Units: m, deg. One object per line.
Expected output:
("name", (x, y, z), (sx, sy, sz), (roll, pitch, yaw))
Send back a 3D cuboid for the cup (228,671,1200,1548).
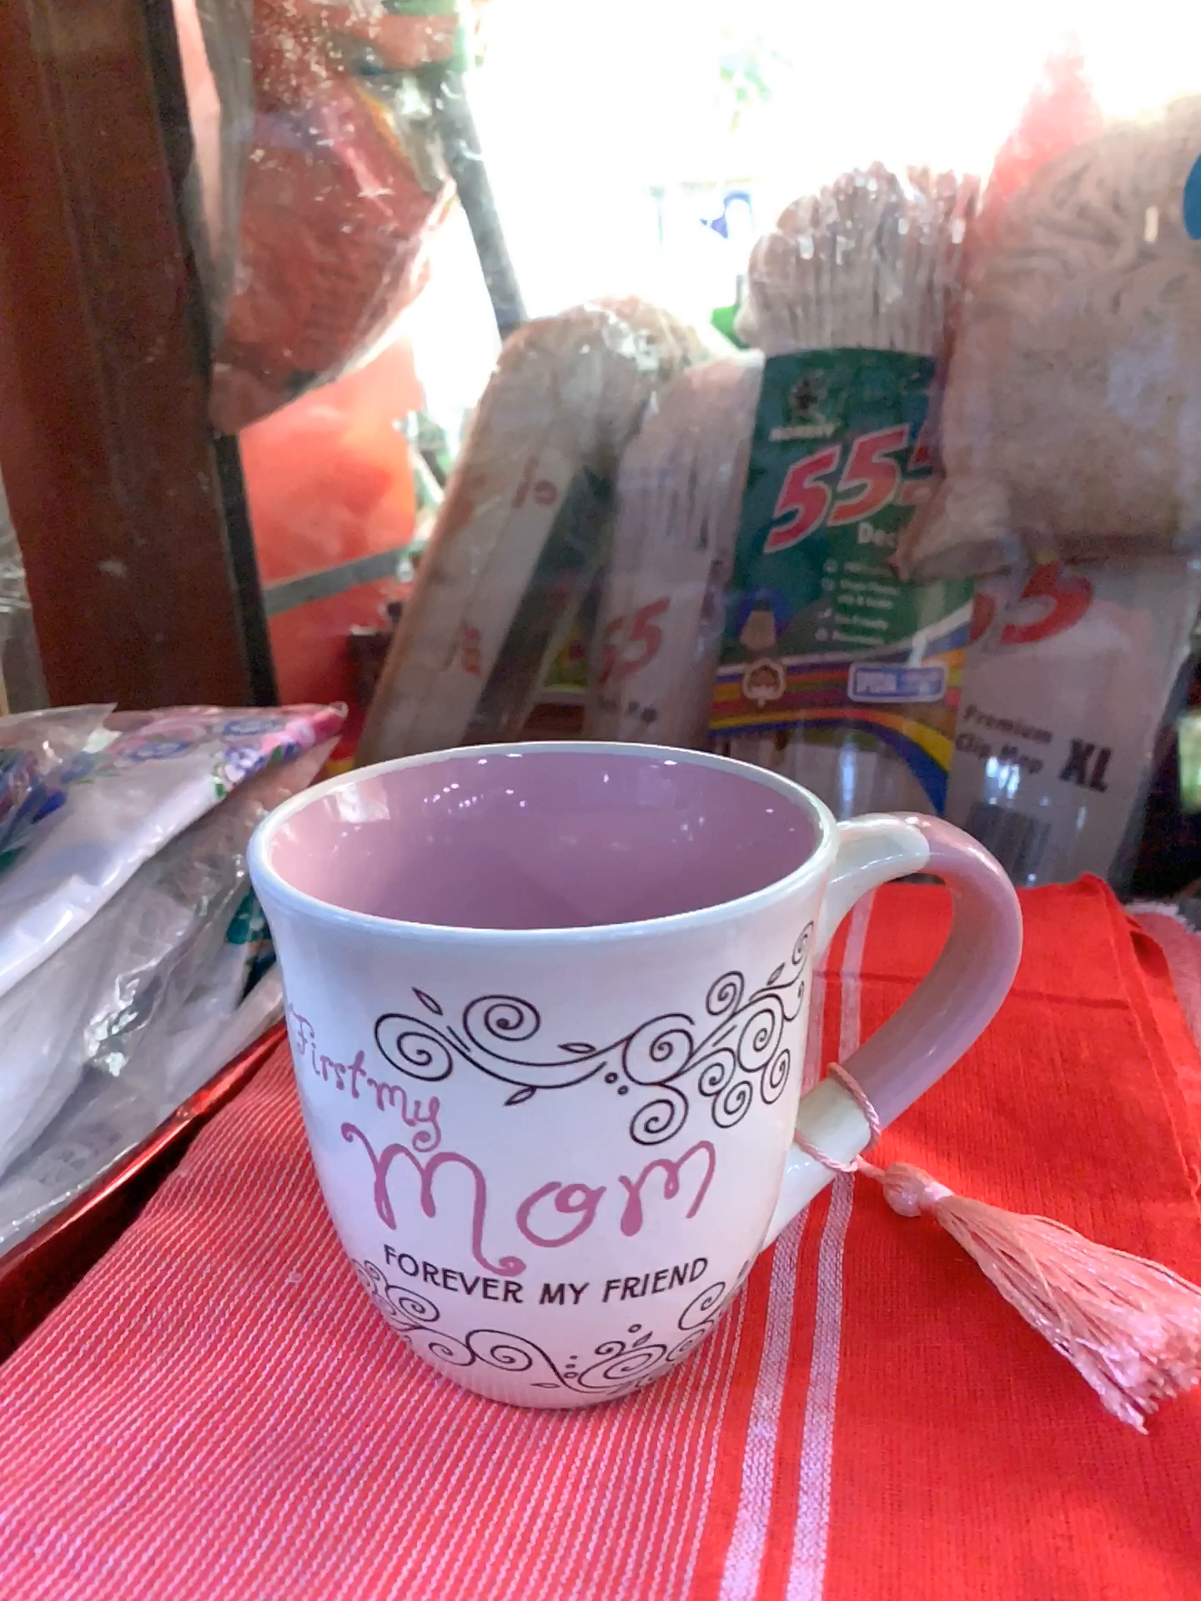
("cup", (0.014, 0.035, 0.214), (0.130, 0.080, 0.094), (-11, 19, -19))
